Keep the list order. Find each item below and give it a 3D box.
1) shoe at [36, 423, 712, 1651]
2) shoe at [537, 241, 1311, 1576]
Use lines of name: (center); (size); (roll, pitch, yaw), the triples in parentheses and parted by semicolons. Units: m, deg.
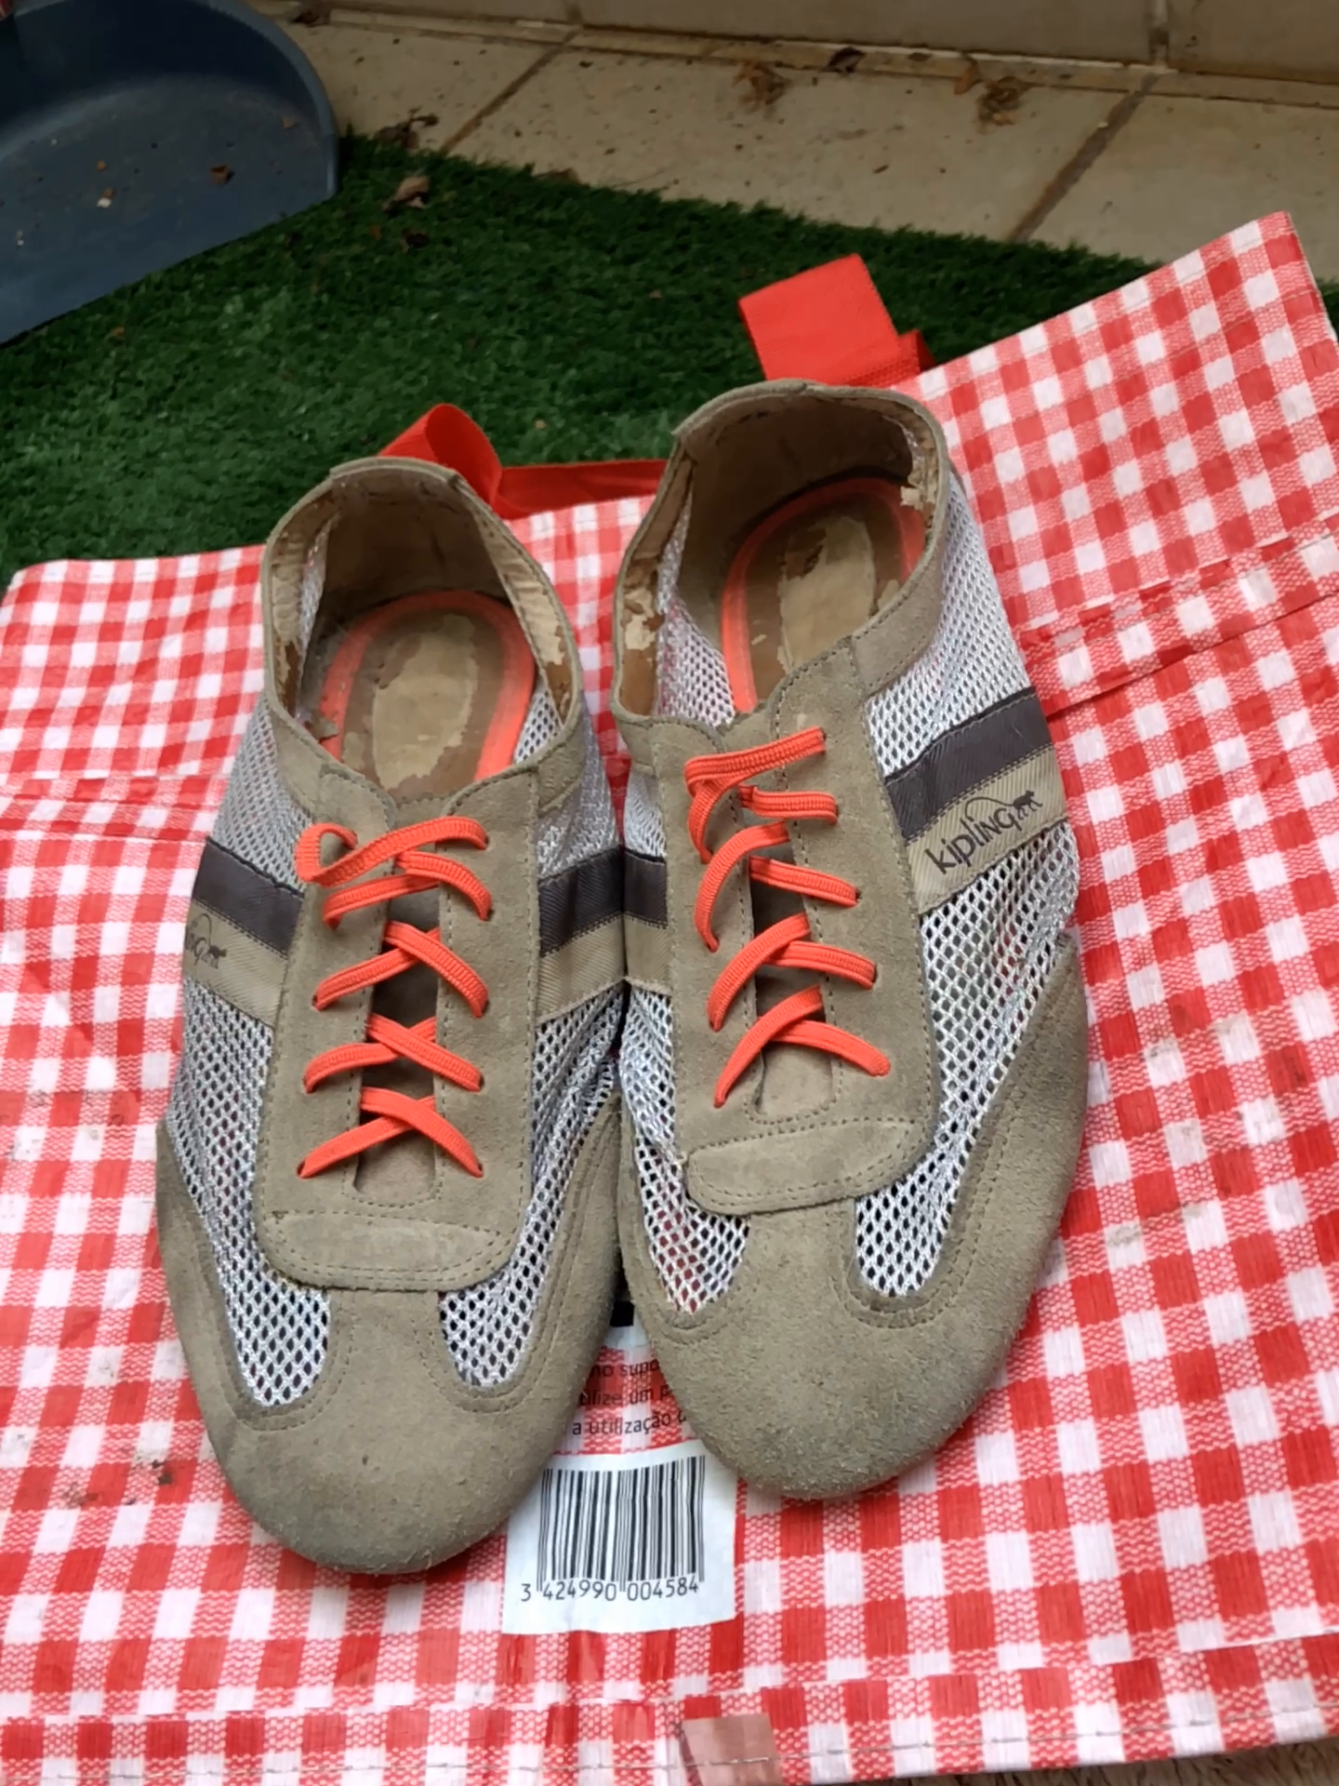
shoe: (-0.053, 0.014, 0.300); (0.100, 0.050, 0.241); (-2, 63, -4)
shoe: (0.035, -0.002, 0.281); (0.100, 0.050, 0.231); (-18, 61, 25)
